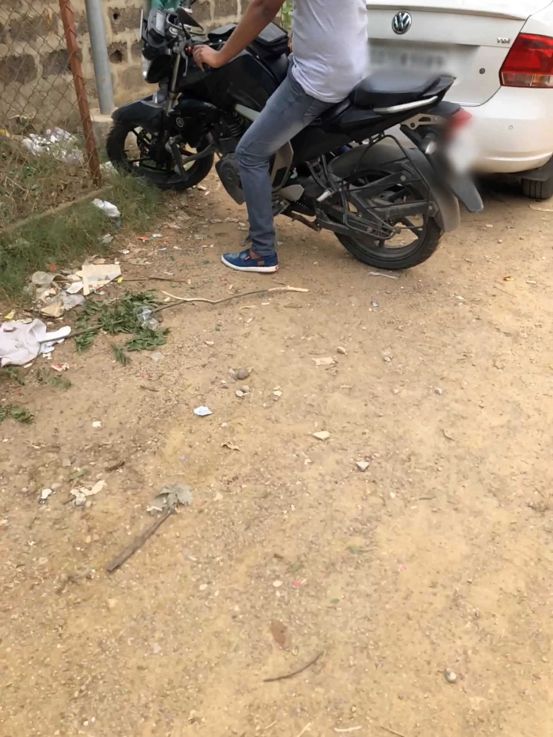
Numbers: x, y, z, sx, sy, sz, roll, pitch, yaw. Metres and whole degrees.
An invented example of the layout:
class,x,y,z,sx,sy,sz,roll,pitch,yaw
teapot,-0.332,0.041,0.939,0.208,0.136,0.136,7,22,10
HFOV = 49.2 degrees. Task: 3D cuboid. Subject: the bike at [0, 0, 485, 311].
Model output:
class,x,y,z,sx,sy,sz,roll,pitch,yaw
bike,-0.161,-1.066,2.324,1.617,1.095,0.530,18,37,15
